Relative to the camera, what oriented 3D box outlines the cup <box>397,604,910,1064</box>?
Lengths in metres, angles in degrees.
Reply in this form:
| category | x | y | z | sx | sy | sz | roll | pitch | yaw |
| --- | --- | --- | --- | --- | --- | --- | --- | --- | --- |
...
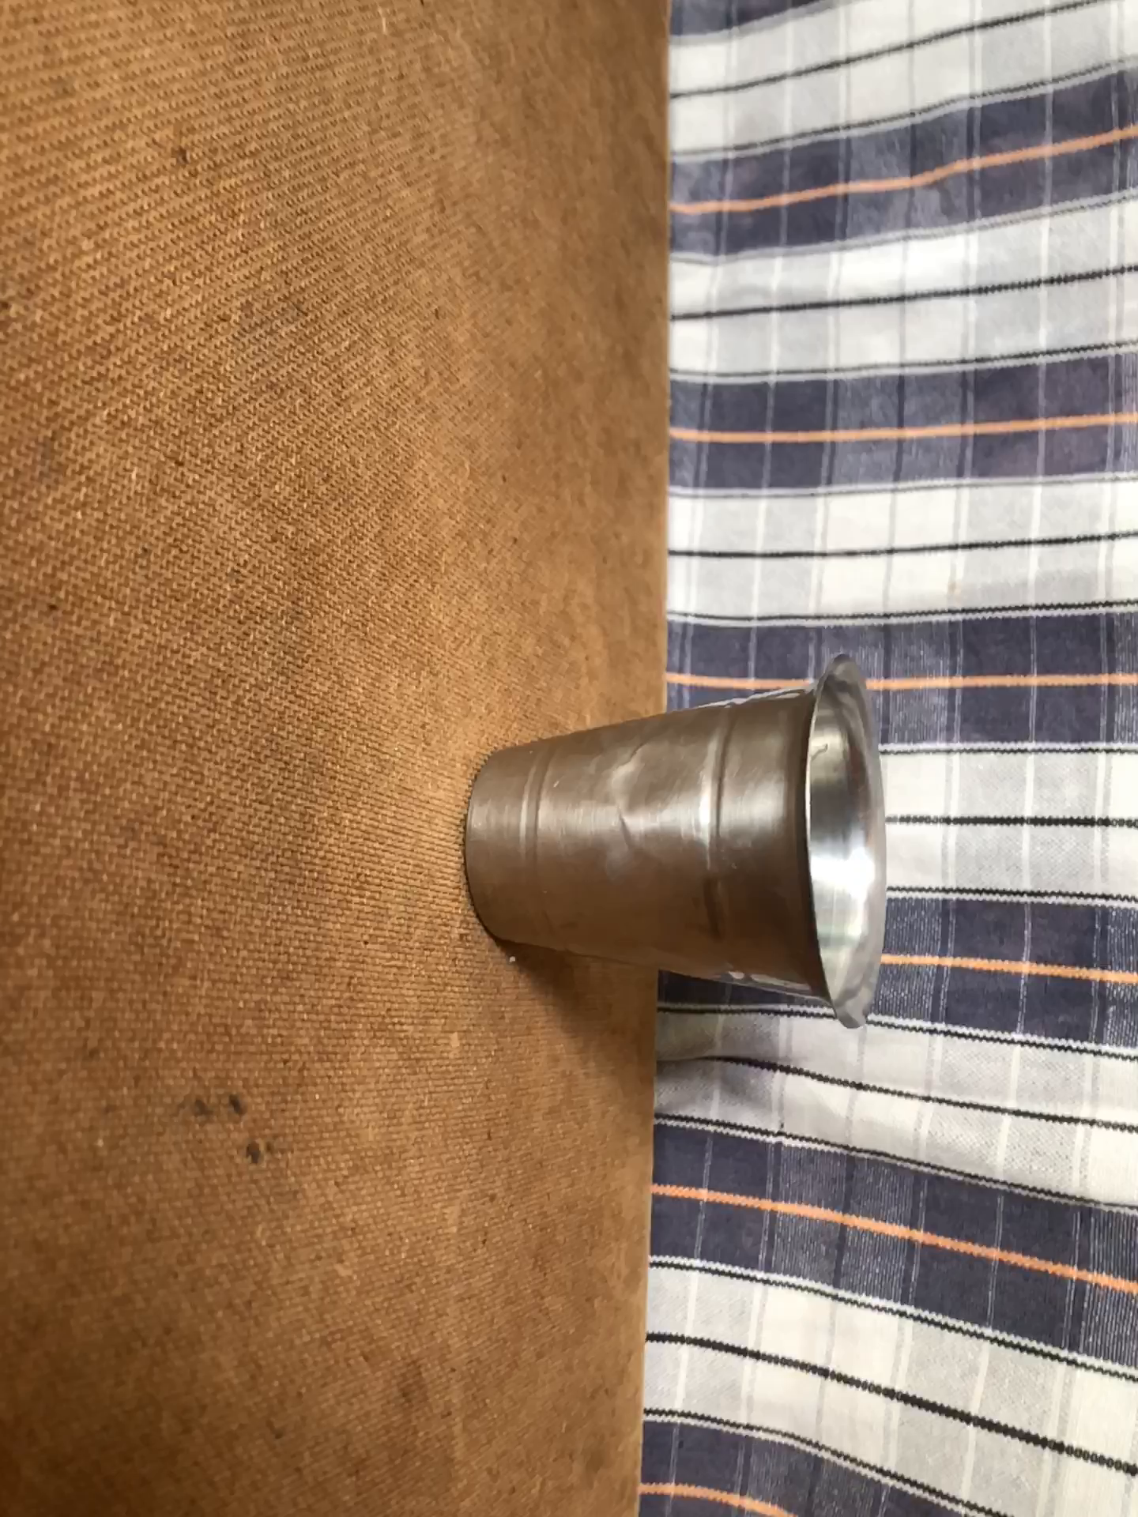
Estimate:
| category | x | y | z | sx | sy | sz | roll | pitch | yaw |
| --- | --- | --- | --- | --- | --- | --- | --- | --- | --- |
| cup | 0.023 | 0.018 | 0.263 | 0.070 | 0.079 | 0.060 | 62 | 33 | -44 |
